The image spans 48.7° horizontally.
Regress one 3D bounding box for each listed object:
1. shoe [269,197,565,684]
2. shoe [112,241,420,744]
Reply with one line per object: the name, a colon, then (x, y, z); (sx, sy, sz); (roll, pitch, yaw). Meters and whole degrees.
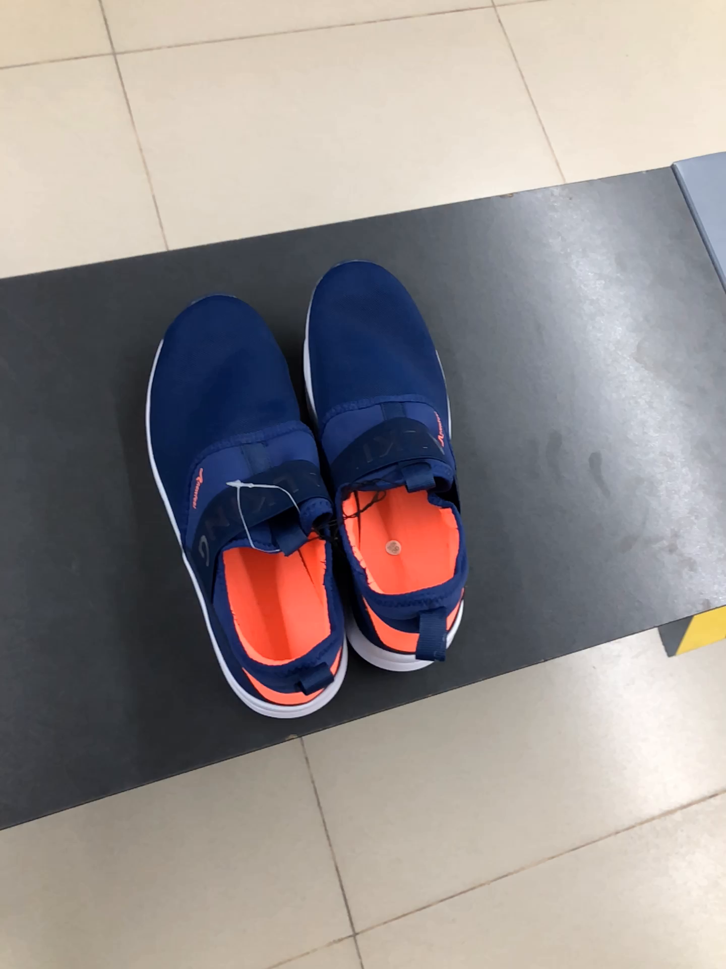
shoe: (0.020, -0.018, 0.457); (0.110, 0.120, 0.240); (-8, 76, -4)
shoe: (-0.064, 0.007, 0.485); (0.110, 0.120, 0.260); (-12, 77, -12)
